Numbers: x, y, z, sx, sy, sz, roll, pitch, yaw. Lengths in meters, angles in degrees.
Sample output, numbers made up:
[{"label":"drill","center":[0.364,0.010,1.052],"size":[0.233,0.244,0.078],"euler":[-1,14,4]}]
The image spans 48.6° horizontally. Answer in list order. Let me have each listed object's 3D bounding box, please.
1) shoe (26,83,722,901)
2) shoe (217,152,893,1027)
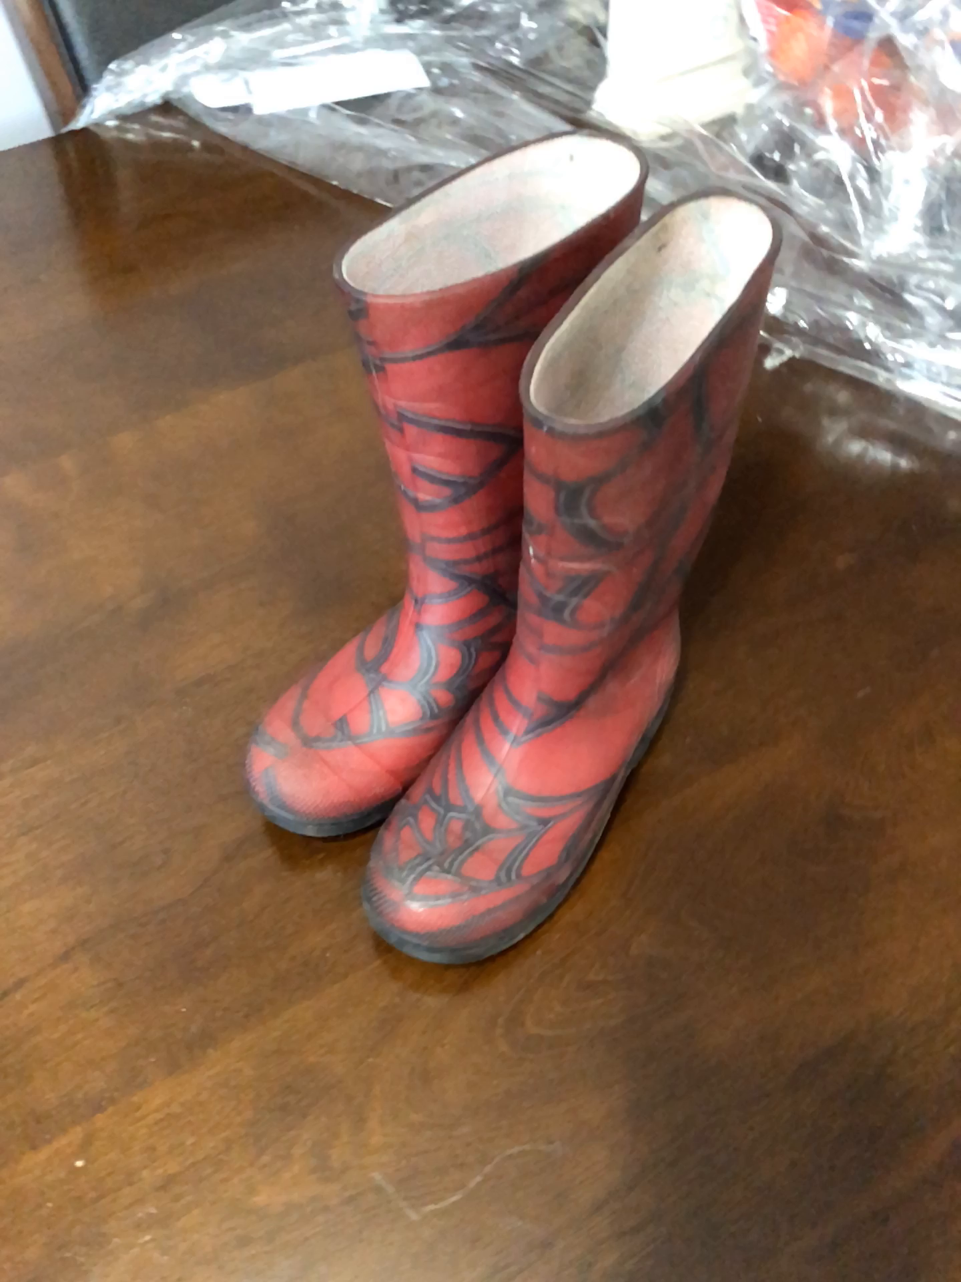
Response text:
[{"label":"shoe","center":[-0.022,-0.047,0.423],"size":[0.080,0.239,0.220],"euler":[36,62,24]},{"label":"shoe","center":[0.034,-0.007,0.396],"size":[0.080,0.239,0.220],"euler":[31,60,21]}]
